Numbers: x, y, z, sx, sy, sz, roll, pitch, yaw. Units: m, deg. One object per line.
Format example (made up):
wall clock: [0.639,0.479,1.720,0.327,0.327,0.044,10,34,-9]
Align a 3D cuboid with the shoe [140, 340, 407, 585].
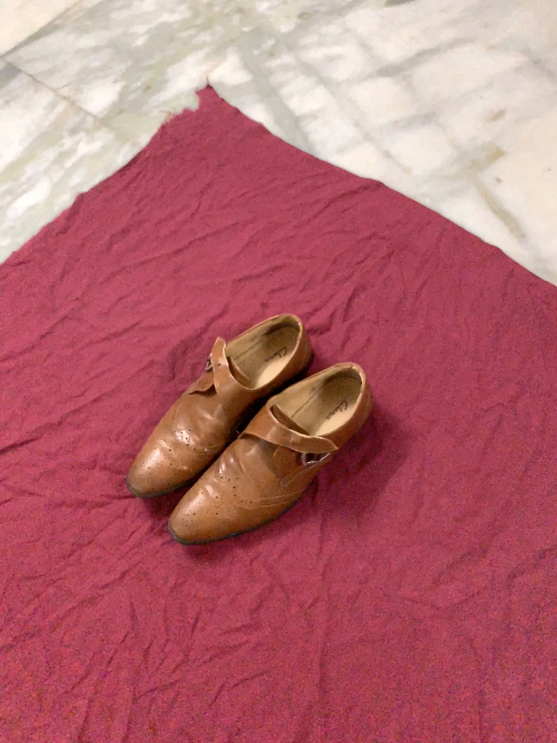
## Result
shoe: [0.002,0.106,0.693,0.310,0.090,0.100,-37,66,-14]

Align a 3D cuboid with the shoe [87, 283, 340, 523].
shoe: [-0.068,0.035,0.708,0.301,0.090,0.100,-41,67,-15]
